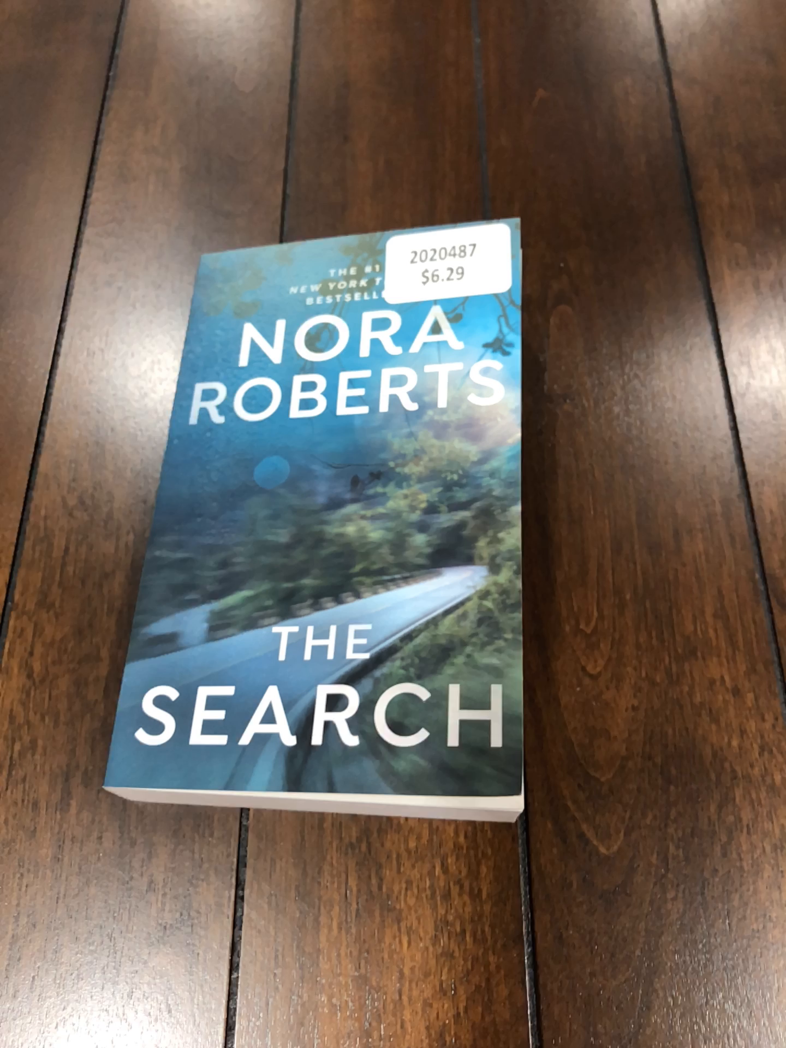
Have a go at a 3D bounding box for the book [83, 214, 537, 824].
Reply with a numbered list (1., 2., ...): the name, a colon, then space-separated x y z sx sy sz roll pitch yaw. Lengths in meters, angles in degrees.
1. book: -0.013 -0.005 0.265 0.108 0.050 0.170 -2 65 12
